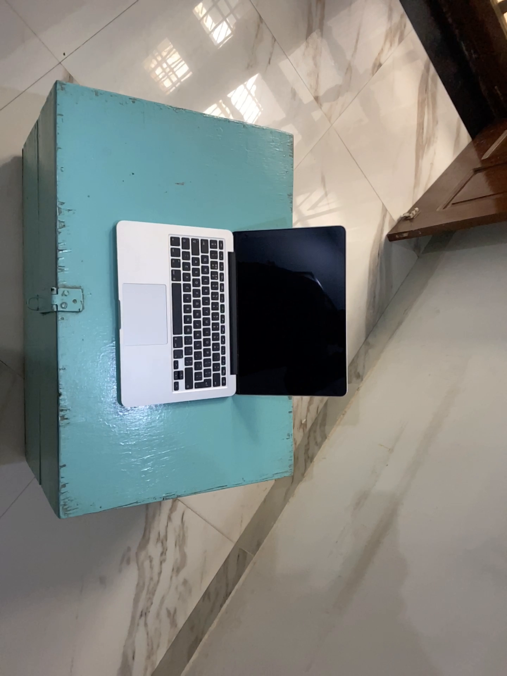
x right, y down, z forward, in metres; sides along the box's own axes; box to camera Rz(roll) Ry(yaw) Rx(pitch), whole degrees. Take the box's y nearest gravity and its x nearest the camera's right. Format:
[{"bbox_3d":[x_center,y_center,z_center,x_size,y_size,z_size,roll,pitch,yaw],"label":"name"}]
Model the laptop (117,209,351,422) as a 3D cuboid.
[{"bbox_3d":[-0.024,-0.042,0.914,0.378,0.148,0.313,-3,92,-32],"label":"laptop"}]
